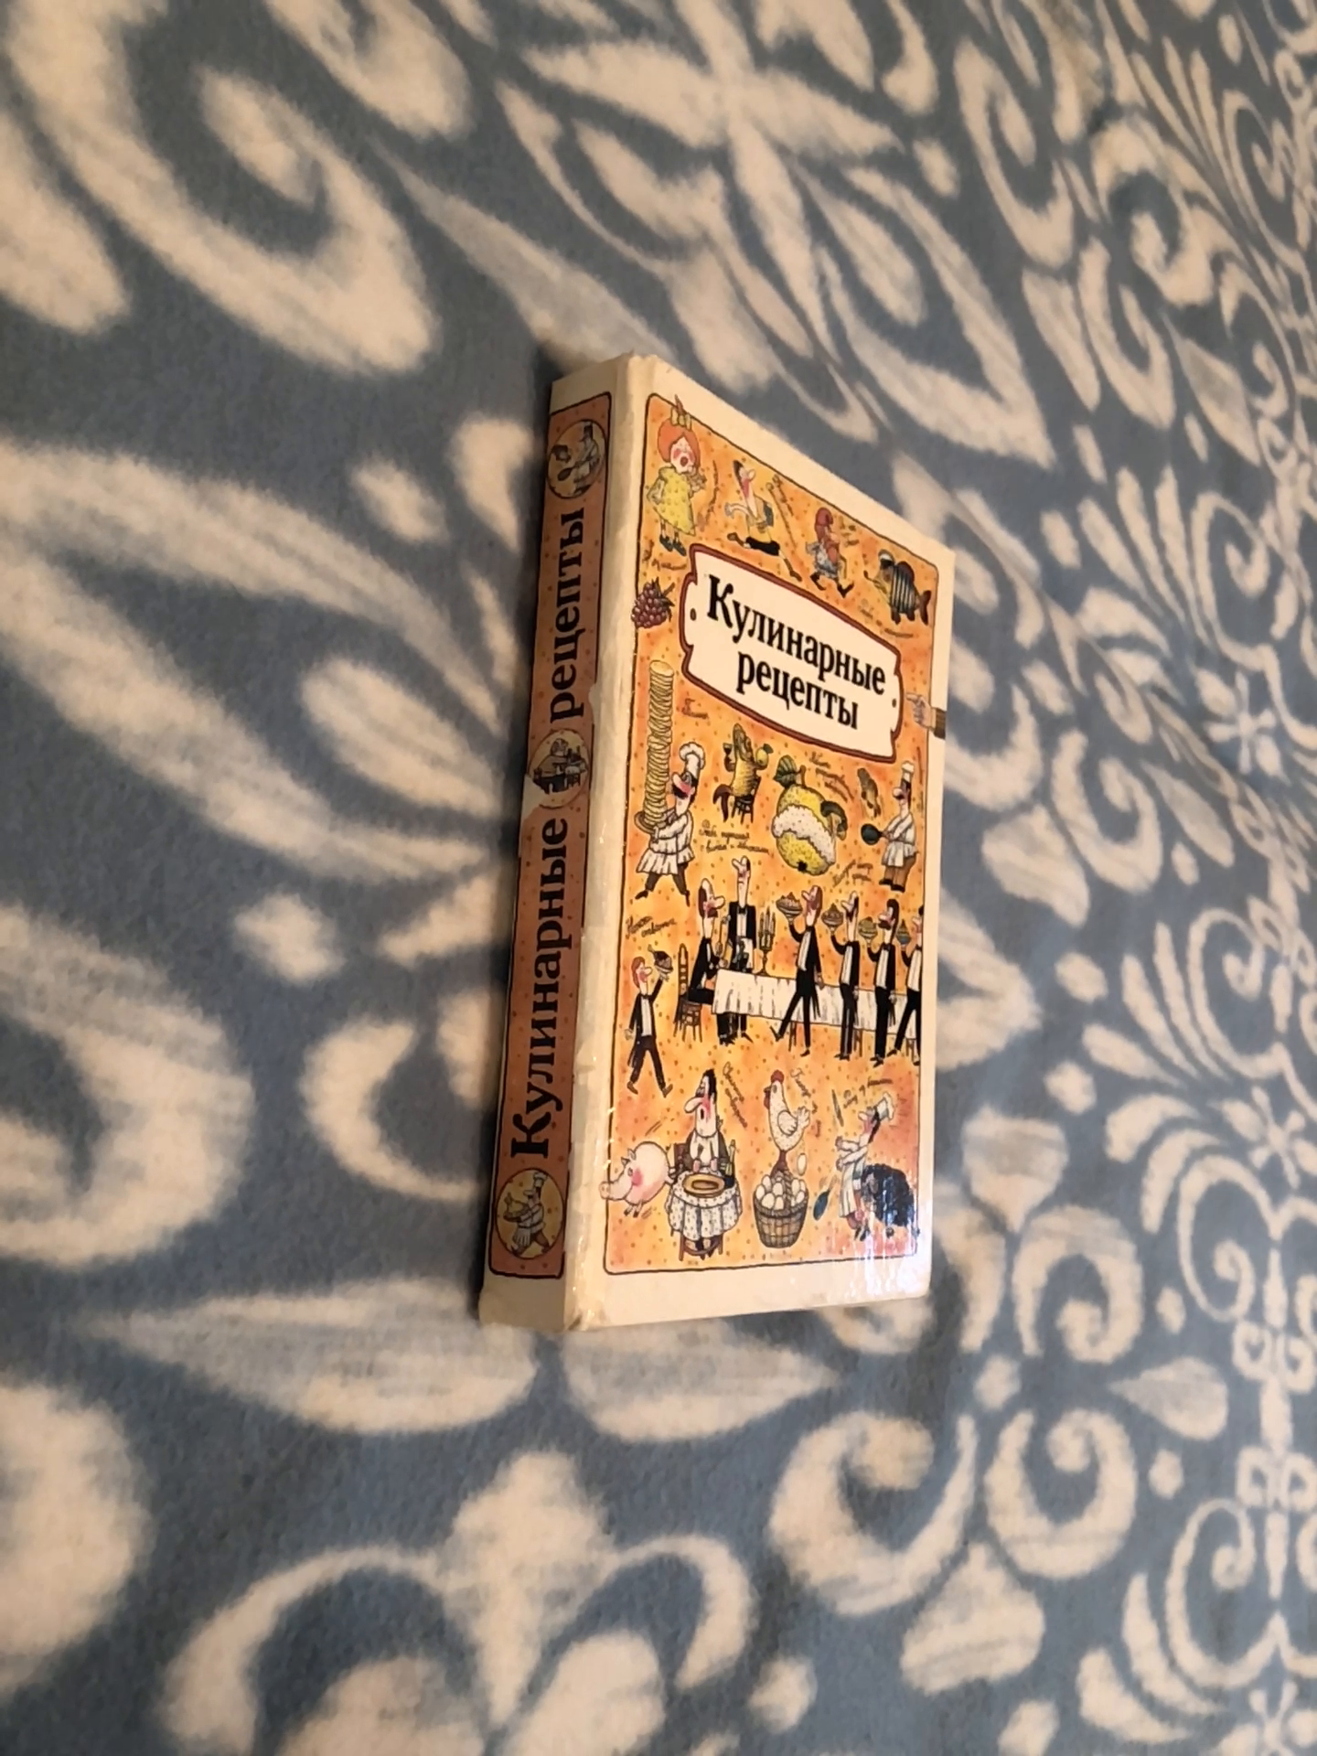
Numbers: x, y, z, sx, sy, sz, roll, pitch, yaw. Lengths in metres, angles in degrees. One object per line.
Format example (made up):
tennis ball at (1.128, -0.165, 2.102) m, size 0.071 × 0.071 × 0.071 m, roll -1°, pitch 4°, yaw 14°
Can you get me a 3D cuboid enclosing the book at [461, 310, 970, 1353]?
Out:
book at (0.025, -0.004, 0.363) m, size 0.142 × 0.032 × 0.220 m, roll 14°, pitch 76°, yaw -47°
